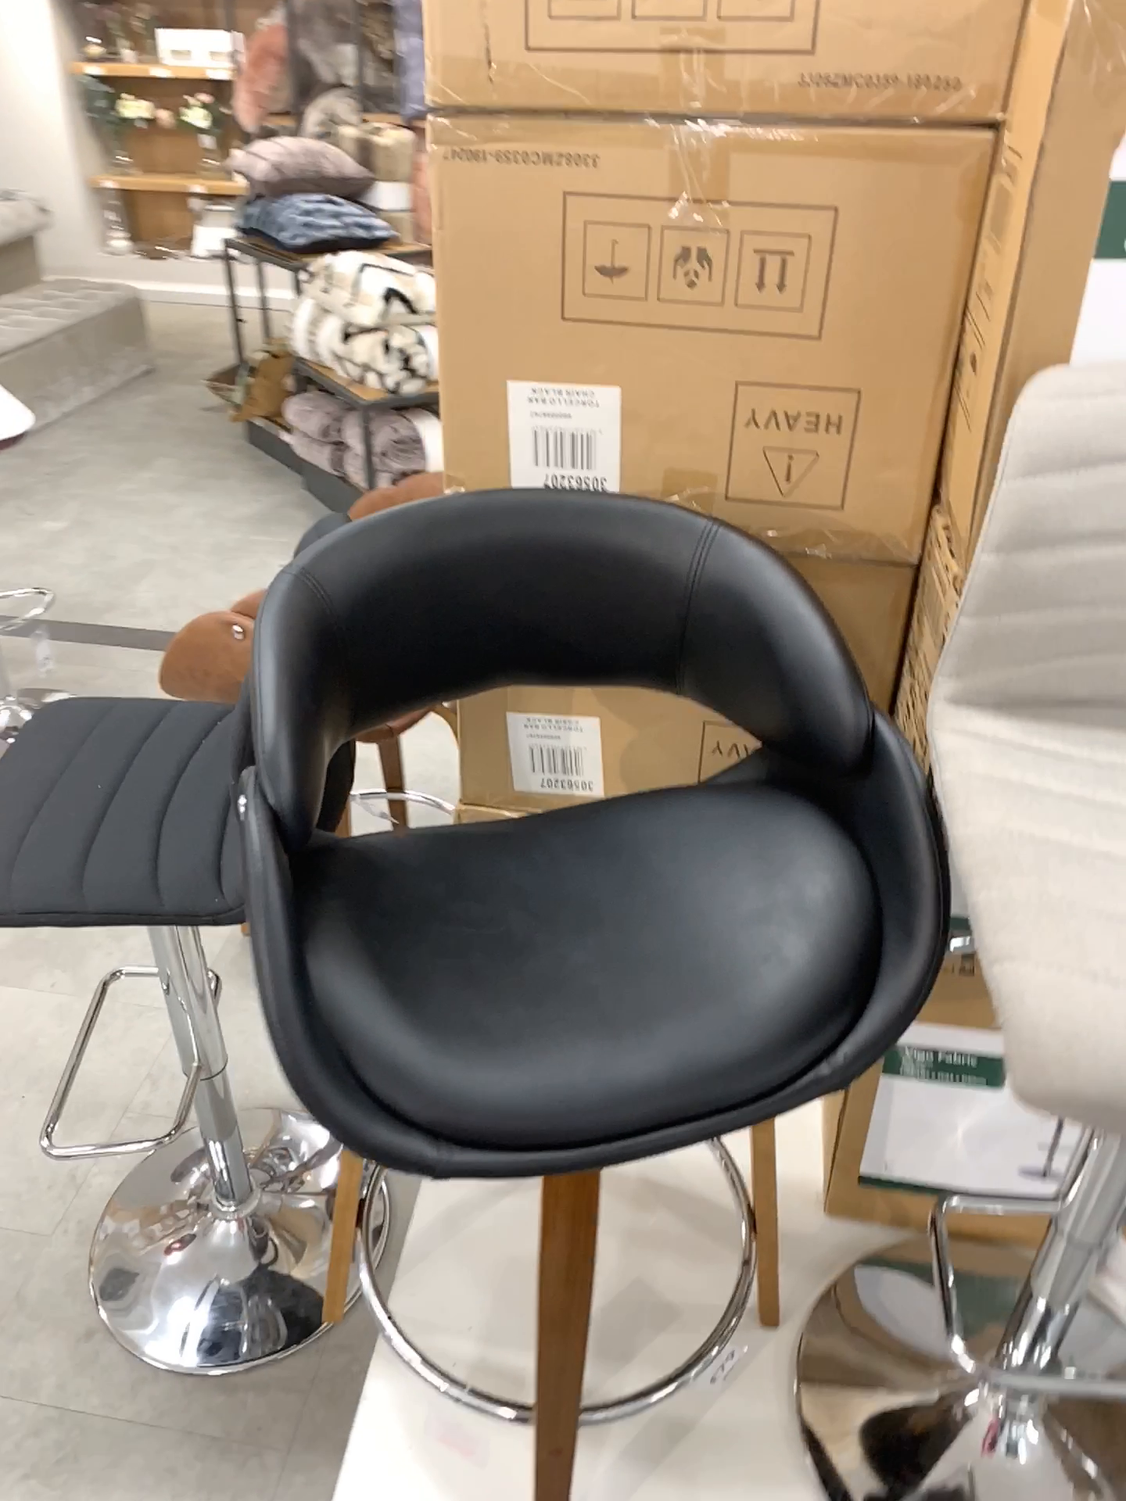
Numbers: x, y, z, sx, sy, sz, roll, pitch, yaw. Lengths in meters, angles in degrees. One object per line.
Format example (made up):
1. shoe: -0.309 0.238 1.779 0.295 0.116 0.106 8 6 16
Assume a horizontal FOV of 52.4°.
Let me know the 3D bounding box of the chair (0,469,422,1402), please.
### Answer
1. chair: -0.456 0.238 1.392 0.466 1.017 0.489 2 29 1

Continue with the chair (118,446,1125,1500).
1. chair: -0.001 0.280 1.079 0.565 0.897 0.551 -13 35 -16

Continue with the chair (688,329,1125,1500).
1. chair: 0.371 0.250 0.870 0.434 0.967 0.440 6 33 4
